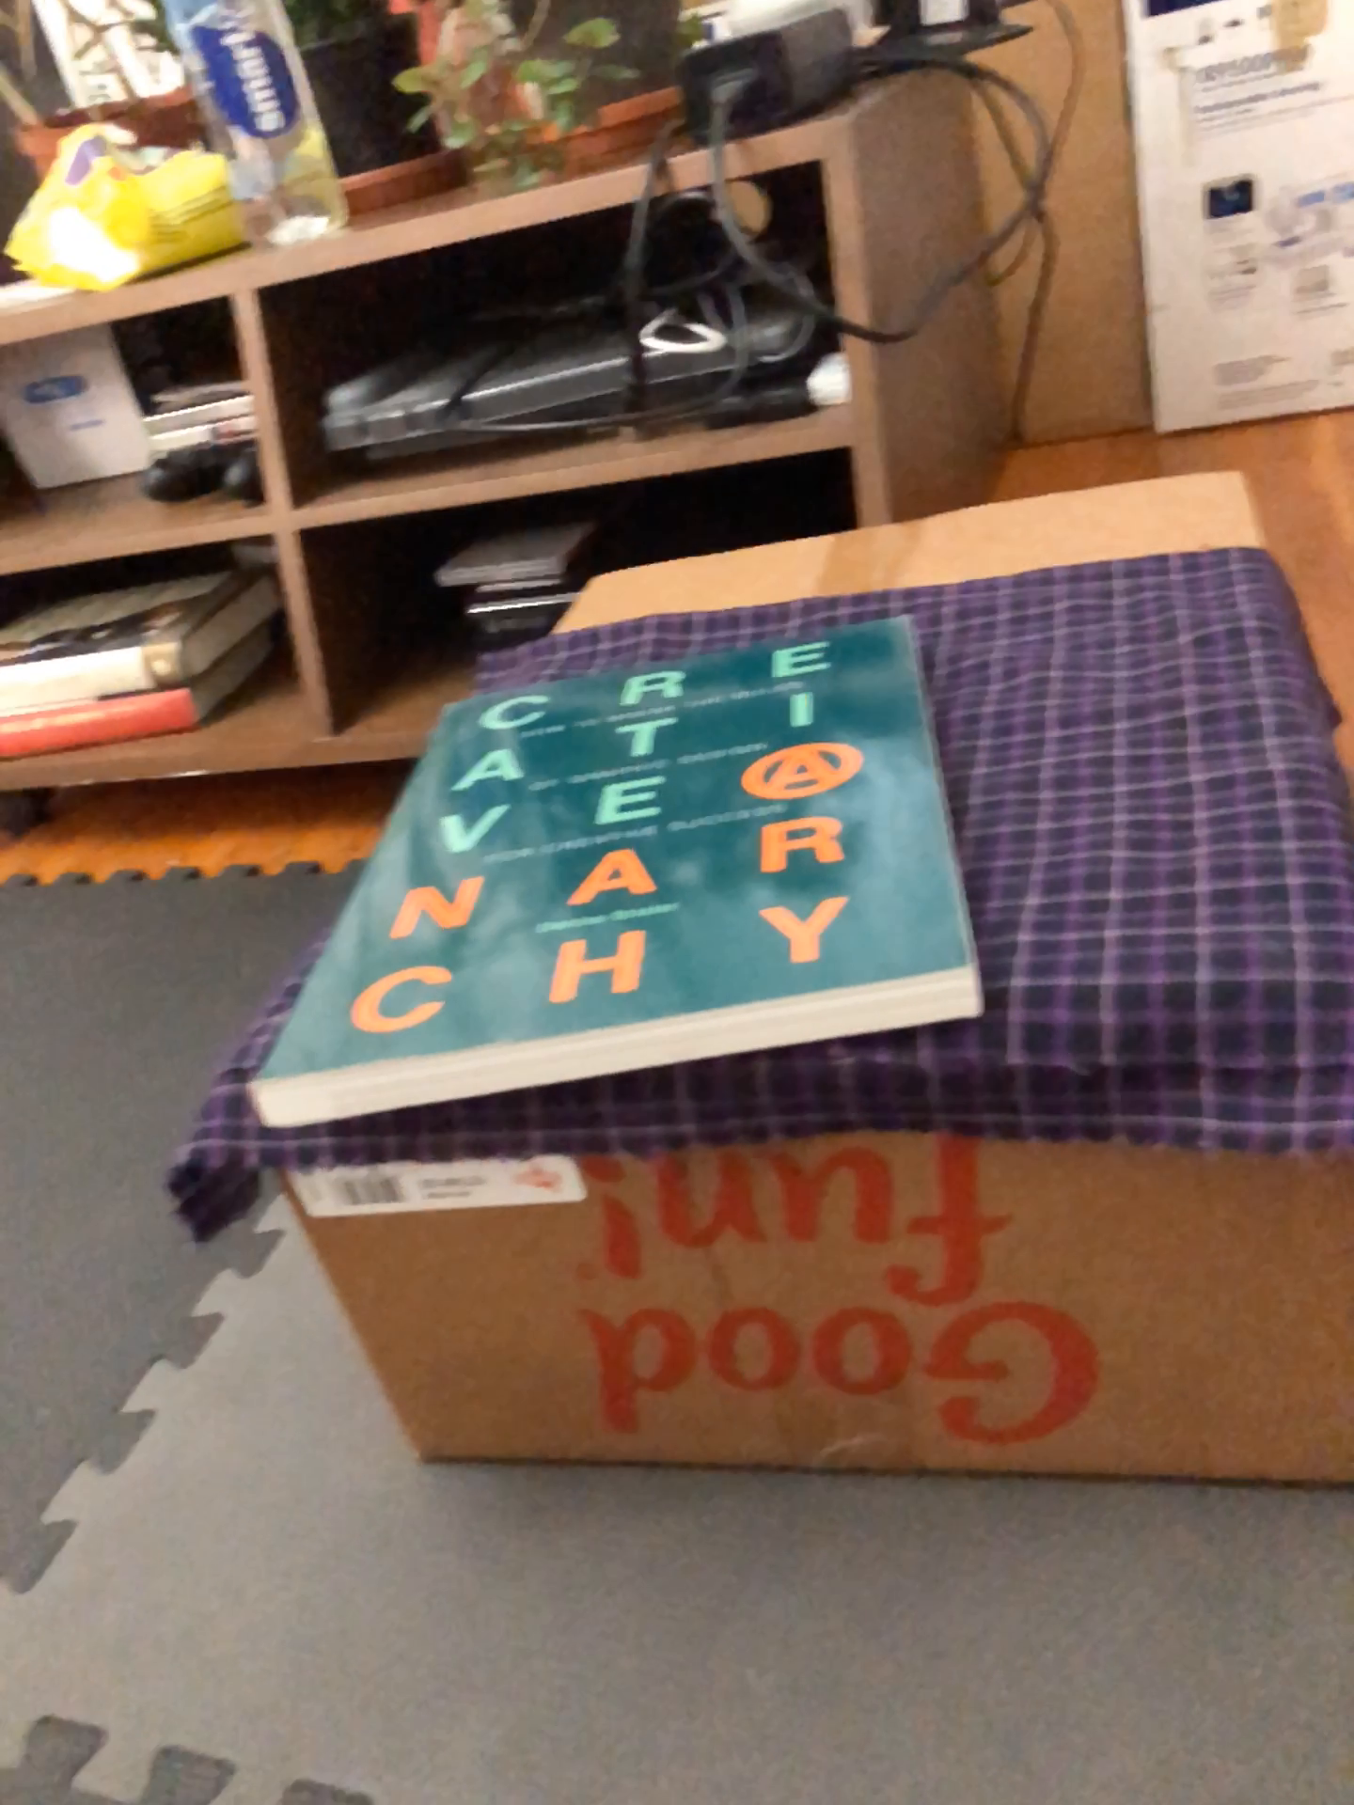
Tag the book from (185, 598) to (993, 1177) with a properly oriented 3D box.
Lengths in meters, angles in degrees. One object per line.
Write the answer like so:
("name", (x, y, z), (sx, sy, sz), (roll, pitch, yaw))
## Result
("book", (-0.018, -0.026, 0.527), (0.220, 0.020, 0.302), (-10, 29, 10))
